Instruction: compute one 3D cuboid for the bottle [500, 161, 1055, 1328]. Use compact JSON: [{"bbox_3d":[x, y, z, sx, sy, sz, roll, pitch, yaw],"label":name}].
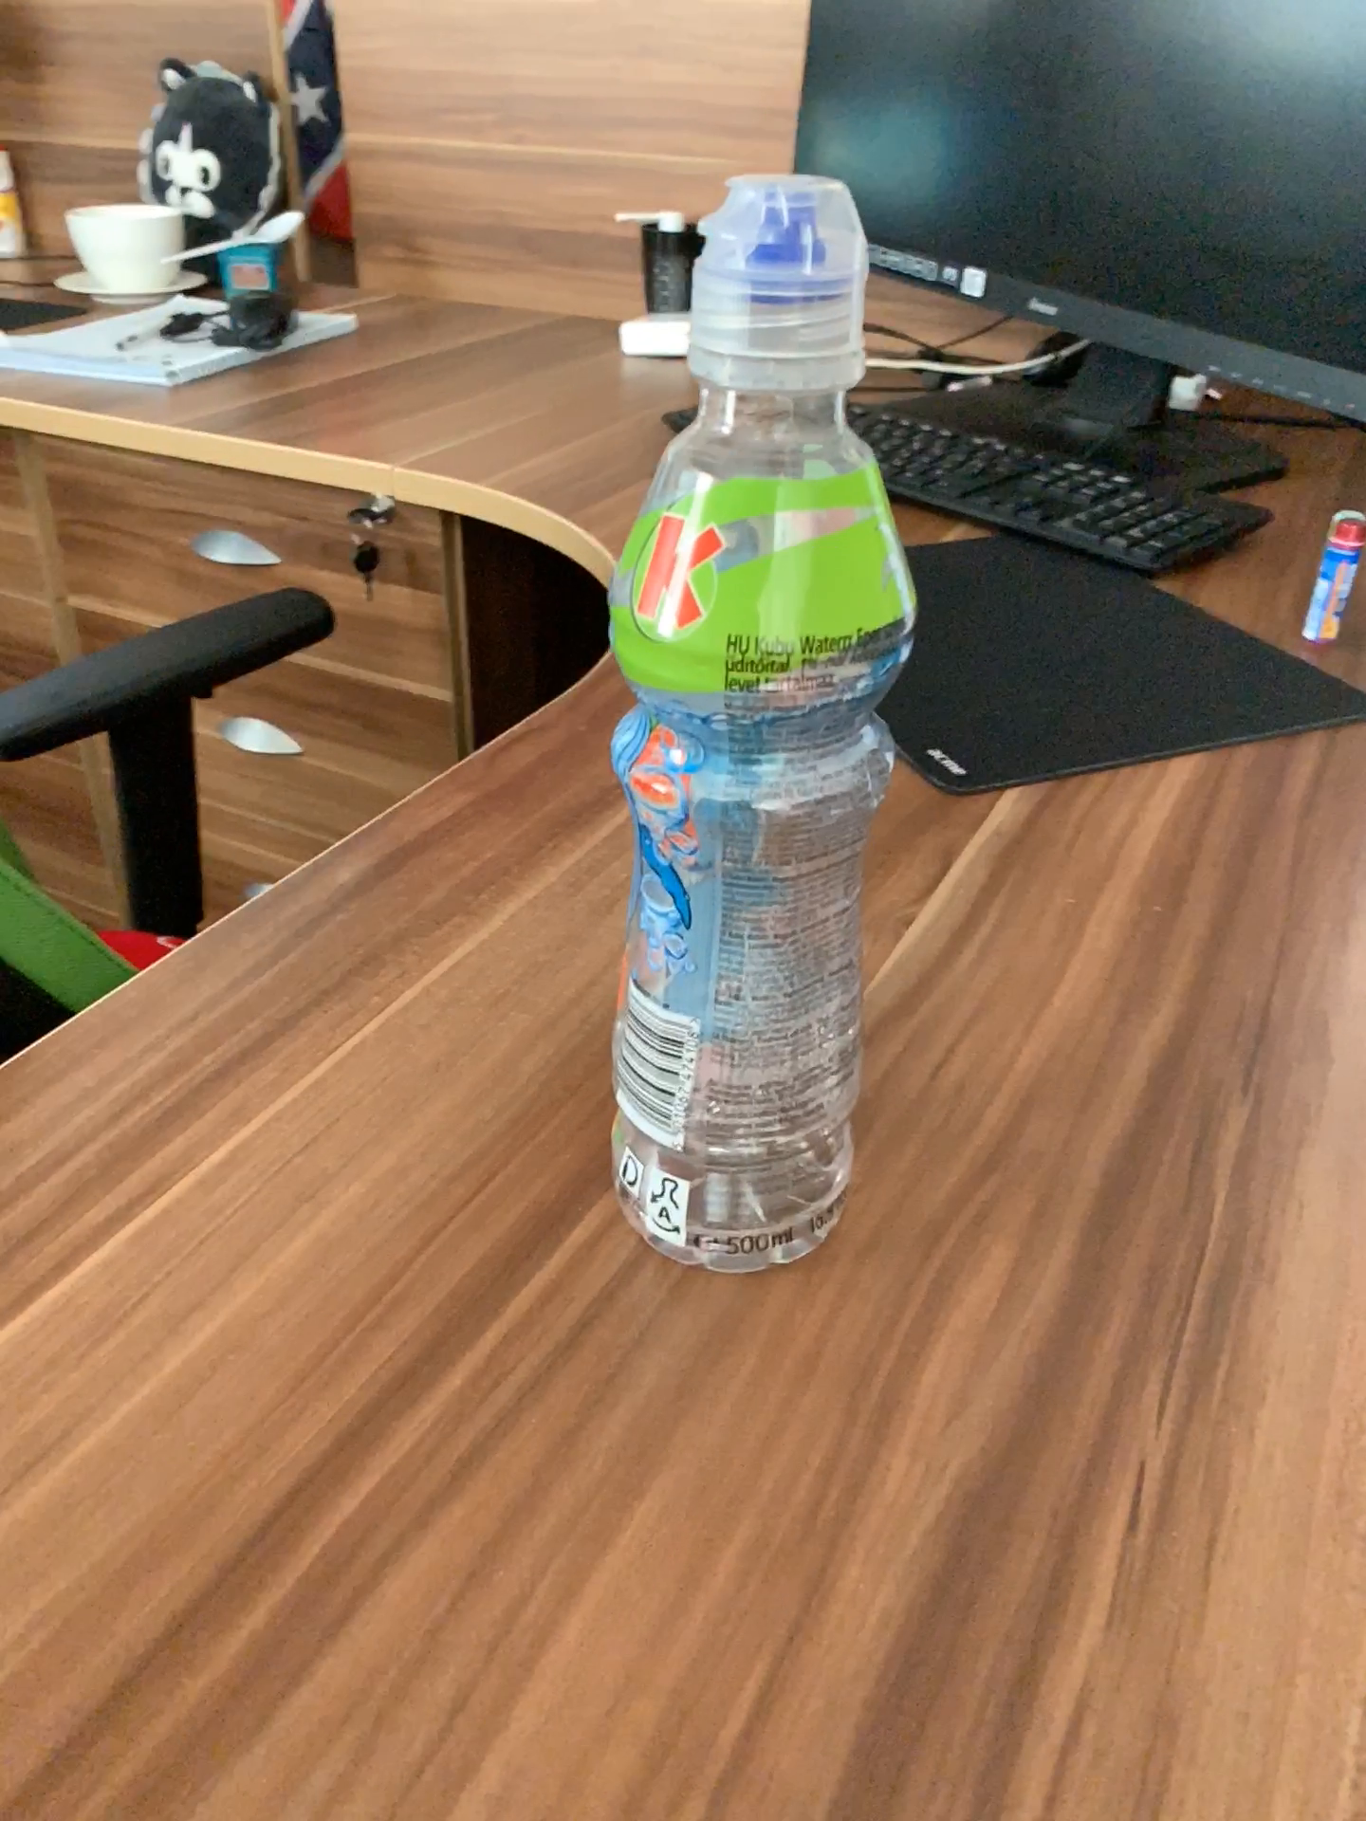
[{"bbox_3d":[0.012,-0.028,0.313,0.070,0.239,0.070,1,32,-1],"label":"bottle"}]
